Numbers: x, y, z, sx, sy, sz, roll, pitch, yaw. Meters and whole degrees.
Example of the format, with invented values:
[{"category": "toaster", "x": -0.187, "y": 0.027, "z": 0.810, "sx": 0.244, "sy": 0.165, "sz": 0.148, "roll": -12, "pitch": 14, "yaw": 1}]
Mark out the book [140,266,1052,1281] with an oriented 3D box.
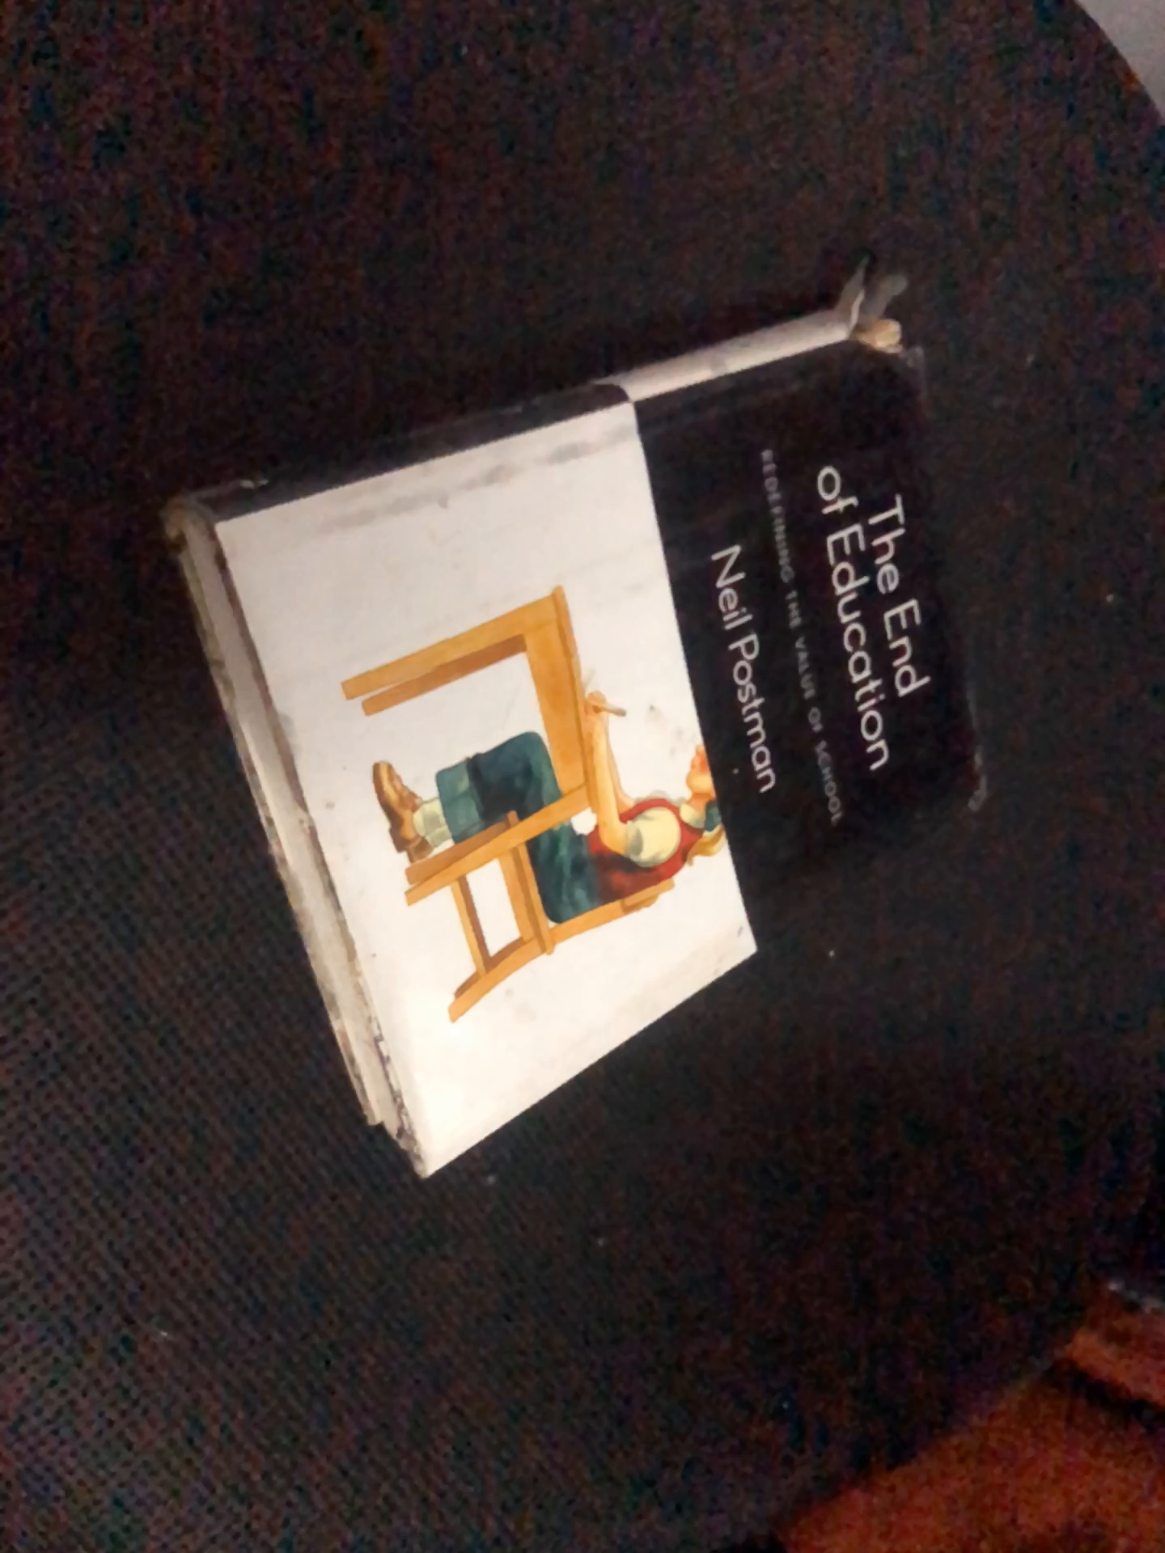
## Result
[{"category": "book", "x": 0.035, "y": -0.019, "z": 0.344, "sx": 0.251, "sy": 0.030, "sz": 0.180, "roll": -28, "pitch": 113, "yaw": -35}]
